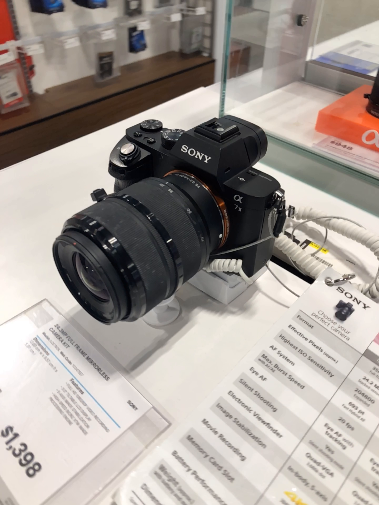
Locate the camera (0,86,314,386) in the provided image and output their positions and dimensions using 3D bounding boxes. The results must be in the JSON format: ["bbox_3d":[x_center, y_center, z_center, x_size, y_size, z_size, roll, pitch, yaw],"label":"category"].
[{"bbox_3d":[-0.023,-0.026,0.266,0.130,0.089,0.140,31,50,30],"label":"camera"}]
